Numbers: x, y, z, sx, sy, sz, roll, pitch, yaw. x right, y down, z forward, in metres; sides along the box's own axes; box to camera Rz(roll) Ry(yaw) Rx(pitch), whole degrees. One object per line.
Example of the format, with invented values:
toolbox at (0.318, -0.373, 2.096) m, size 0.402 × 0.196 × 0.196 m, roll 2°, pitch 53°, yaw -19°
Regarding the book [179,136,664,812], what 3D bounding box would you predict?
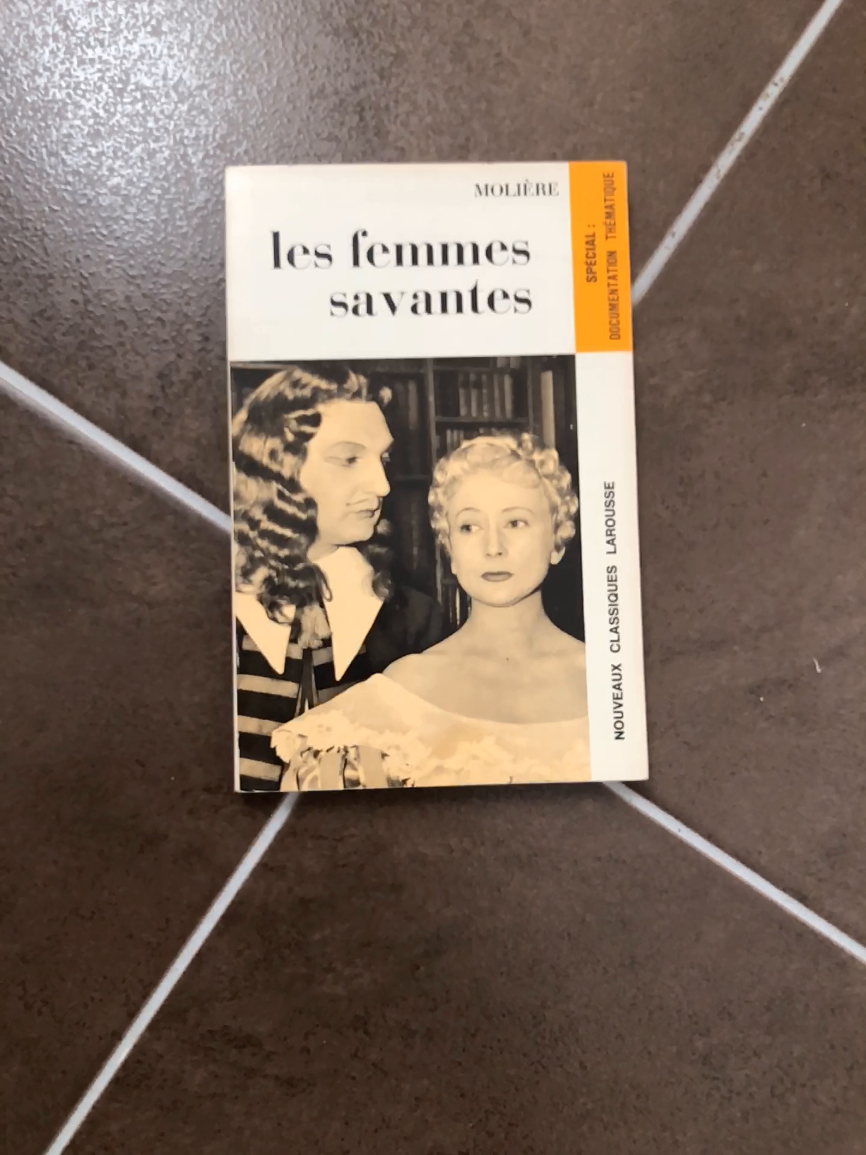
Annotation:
book at (-0.002, -0.027, 0.255) m, size 0.120 × 0.020 × 0.170 m, roll -1°, pitch 91°, yaw -2°
